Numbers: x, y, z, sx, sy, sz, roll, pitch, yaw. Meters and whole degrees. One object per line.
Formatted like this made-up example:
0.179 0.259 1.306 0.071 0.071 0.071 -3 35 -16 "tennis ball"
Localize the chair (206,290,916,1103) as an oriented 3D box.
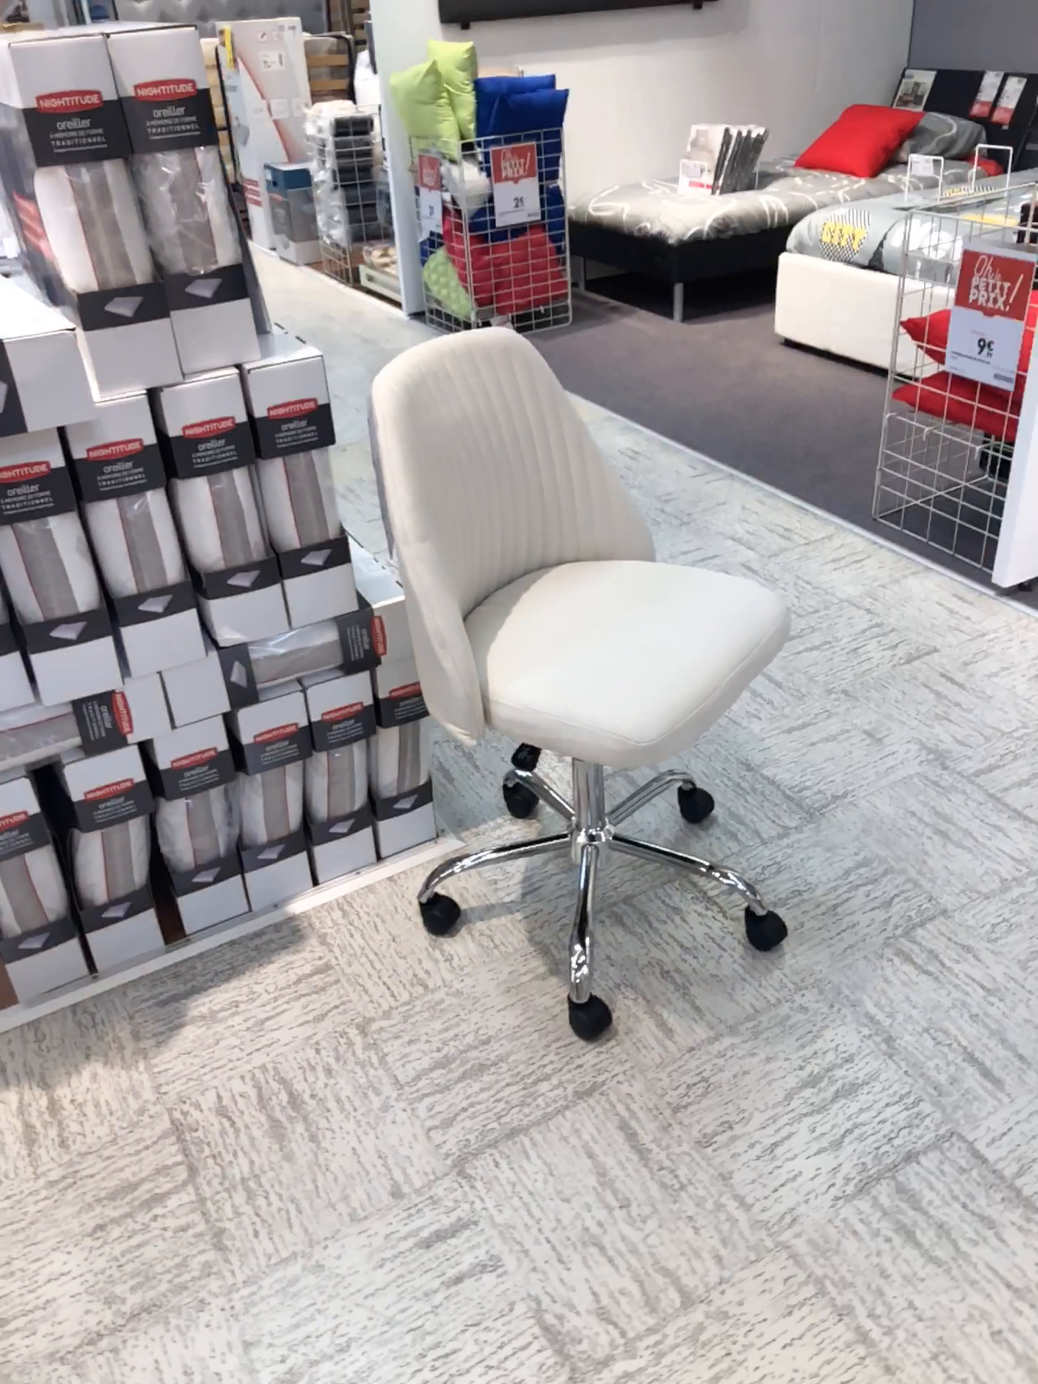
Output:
0.119 -0.061 1.587 0.630 0.785 0.705 12 35 24 "chair"
